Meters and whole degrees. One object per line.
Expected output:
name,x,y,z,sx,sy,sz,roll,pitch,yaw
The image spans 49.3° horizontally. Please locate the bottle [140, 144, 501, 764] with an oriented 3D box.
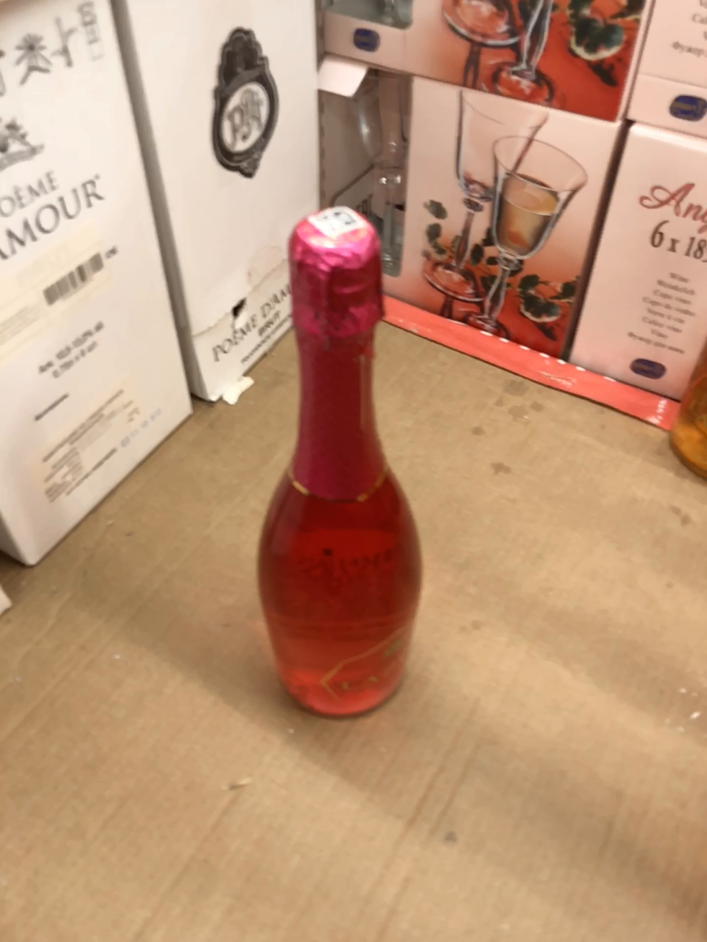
bottle,-0.013,0.022,0.388,0.090,0.320,0.090,0,48,0
